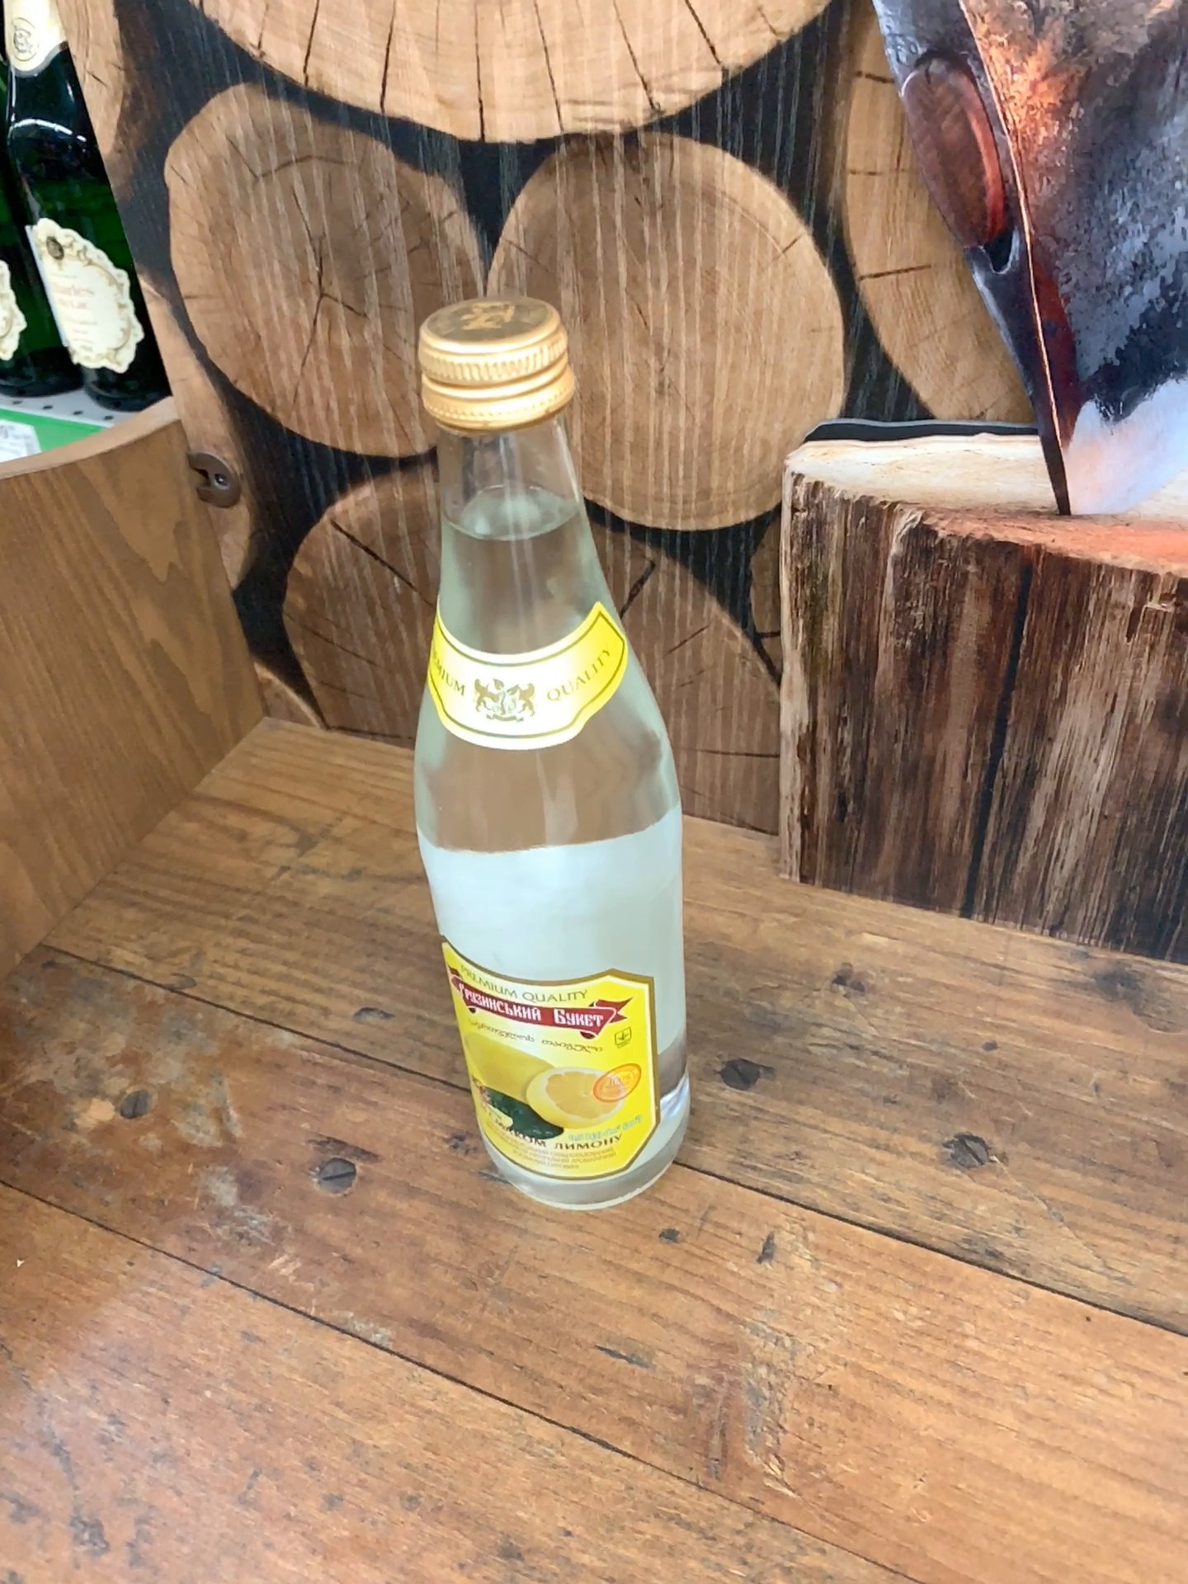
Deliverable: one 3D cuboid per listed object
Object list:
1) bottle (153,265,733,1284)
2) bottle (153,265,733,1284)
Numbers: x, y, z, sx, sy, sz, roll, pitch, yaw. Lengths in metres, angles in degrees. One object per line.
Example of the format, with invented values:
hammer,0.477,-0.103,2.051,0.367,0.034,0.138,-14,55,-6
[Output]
bottle,-0.016,0.011,0.272,0.070,0.219,0.070,-3,40,2
bottle,-0.016,0.011,0.272,0.070,0.219,0.070,-3,40,2
